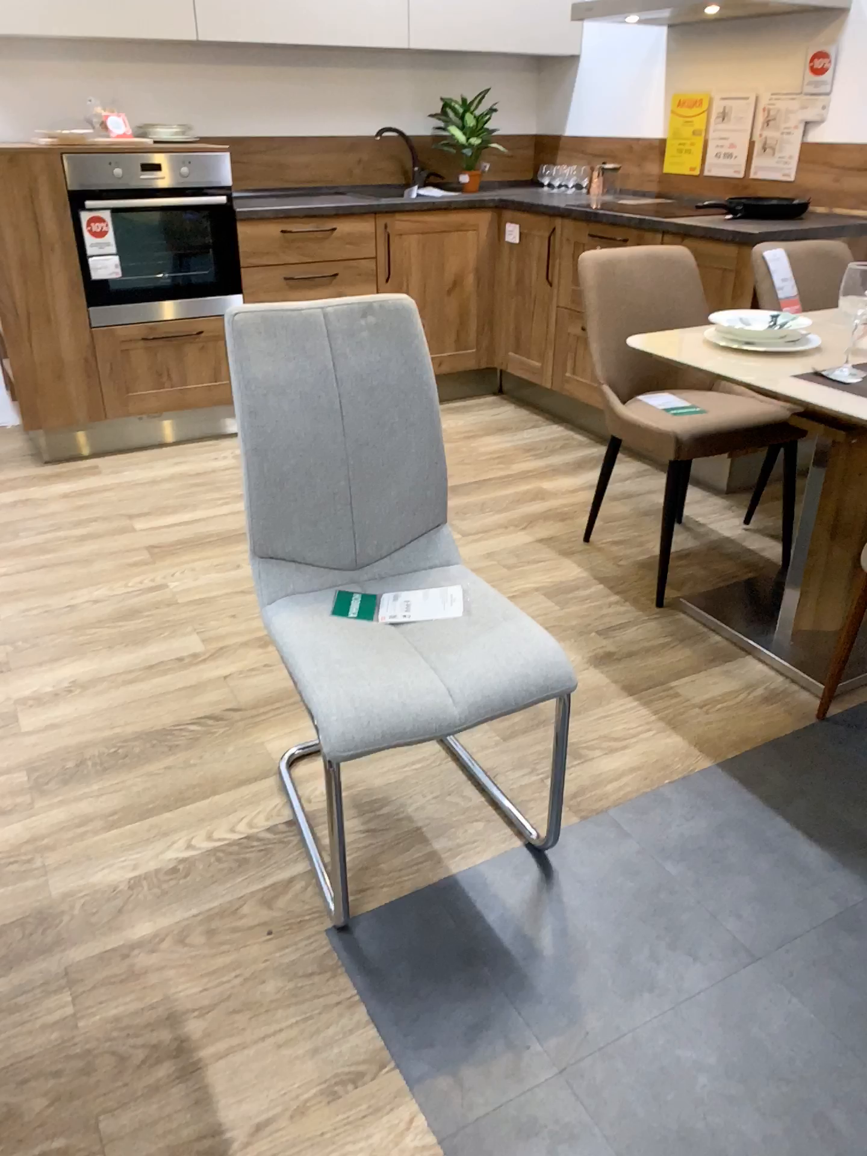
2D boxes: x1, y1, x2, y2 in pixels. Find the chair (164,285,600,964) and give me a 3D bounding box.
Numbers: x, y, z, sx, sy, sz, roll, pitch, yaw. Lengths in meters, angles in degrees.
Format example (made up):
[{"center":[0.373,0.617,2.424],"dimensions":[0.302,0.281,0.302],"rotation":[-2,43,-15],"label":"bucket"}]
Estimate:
[{"center":[-0.111,0.044,1.599],"dimensions":[0.491,0.985,0.572],"rotation":[-13,29,-23],"label":"chair"}]
